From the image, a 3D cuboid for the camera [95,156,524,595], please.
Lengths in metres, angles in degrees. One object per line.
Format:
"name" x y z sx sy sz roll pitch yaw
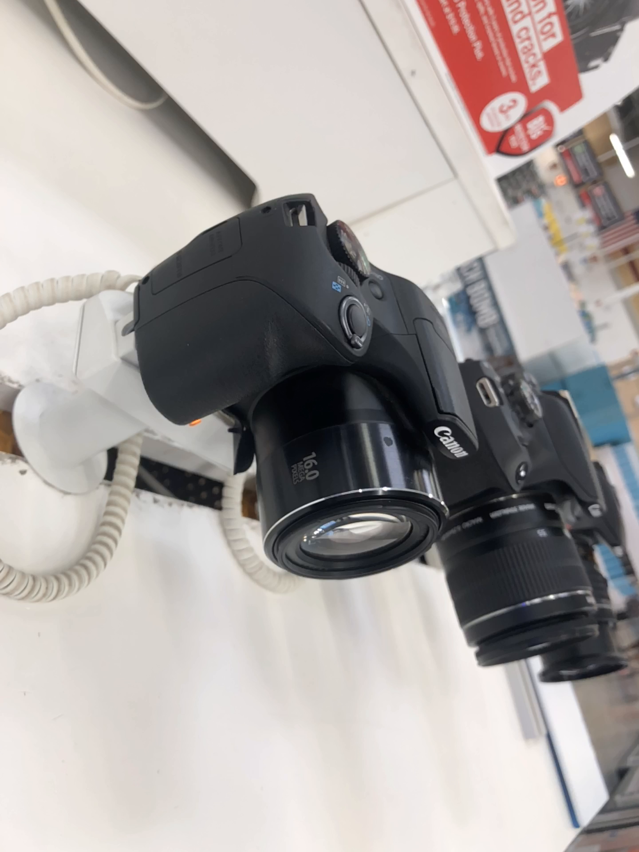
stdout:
"camera" 0.001 -0.005 0.248 0.120 0.090 0.080 40 35 -52
